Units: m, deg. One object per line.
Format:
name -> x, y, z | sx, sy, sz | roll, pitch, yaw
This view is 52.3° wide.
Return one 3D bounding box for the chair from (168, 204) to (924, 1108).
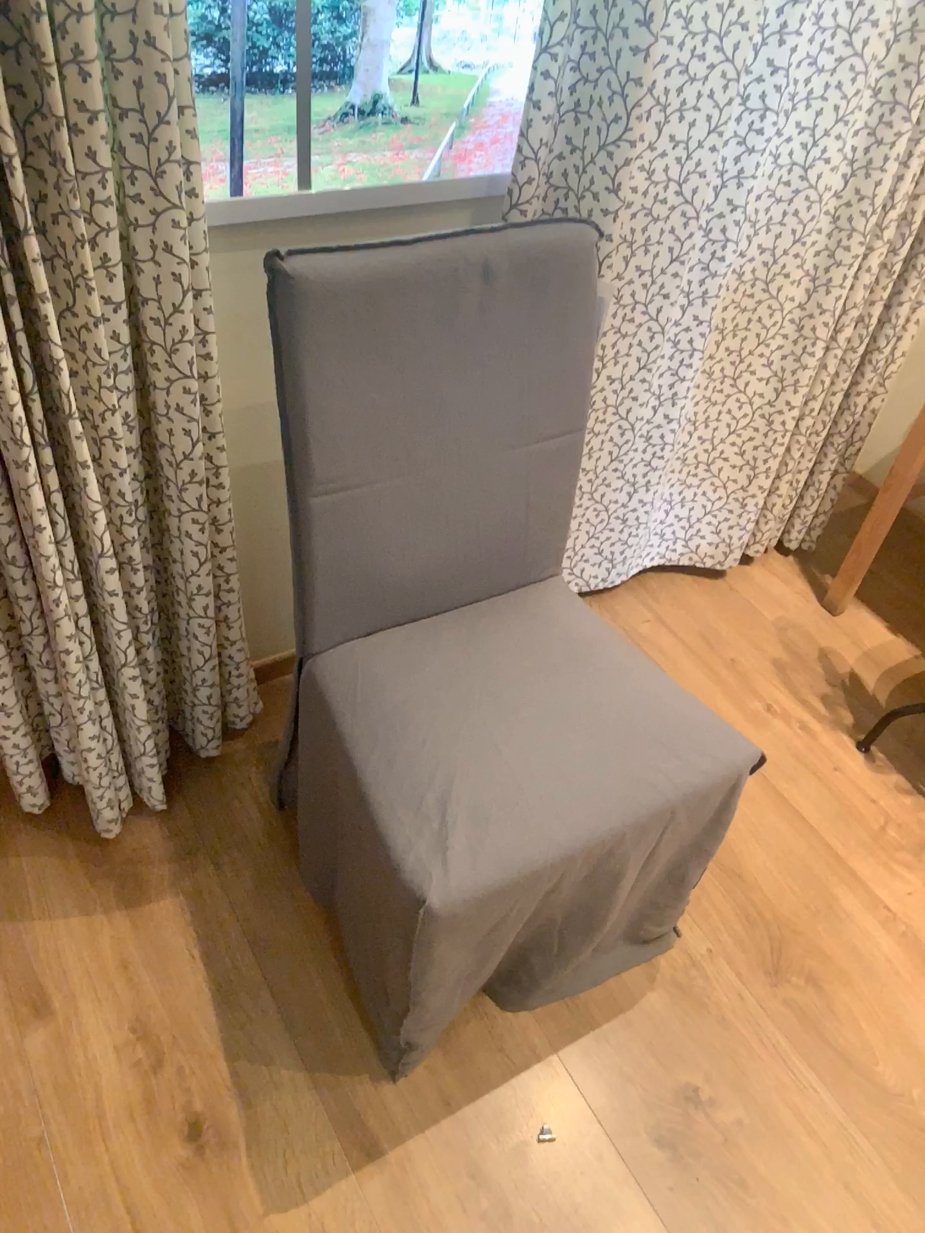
chair -> 0.044, 0.050, 1.218 | 0.571, 0.877, 0.591 | -18, 49, -26
